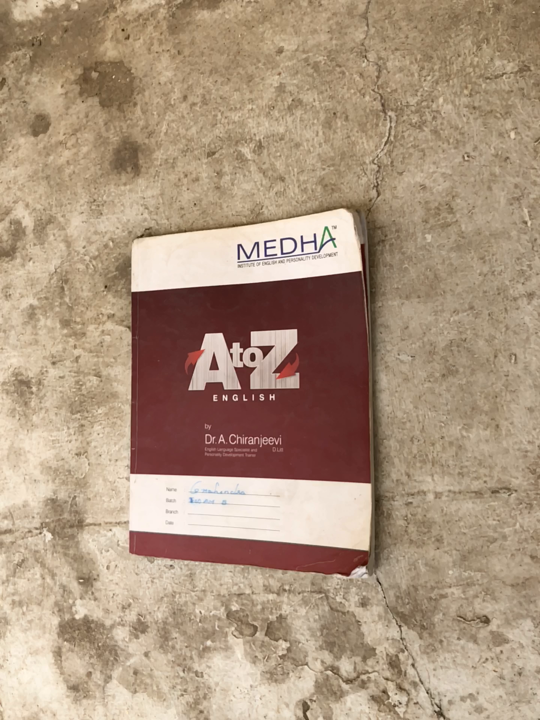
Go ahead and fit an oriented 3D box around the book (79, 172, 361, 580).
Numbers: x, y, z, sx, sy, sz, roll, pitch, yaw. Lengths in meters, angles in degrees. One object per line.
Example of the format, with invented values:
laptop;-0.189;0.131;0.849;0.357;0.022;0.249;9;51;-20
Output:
book;-0.043;0.012;0.465;0.220;0.030;0.280;-2;84;21
